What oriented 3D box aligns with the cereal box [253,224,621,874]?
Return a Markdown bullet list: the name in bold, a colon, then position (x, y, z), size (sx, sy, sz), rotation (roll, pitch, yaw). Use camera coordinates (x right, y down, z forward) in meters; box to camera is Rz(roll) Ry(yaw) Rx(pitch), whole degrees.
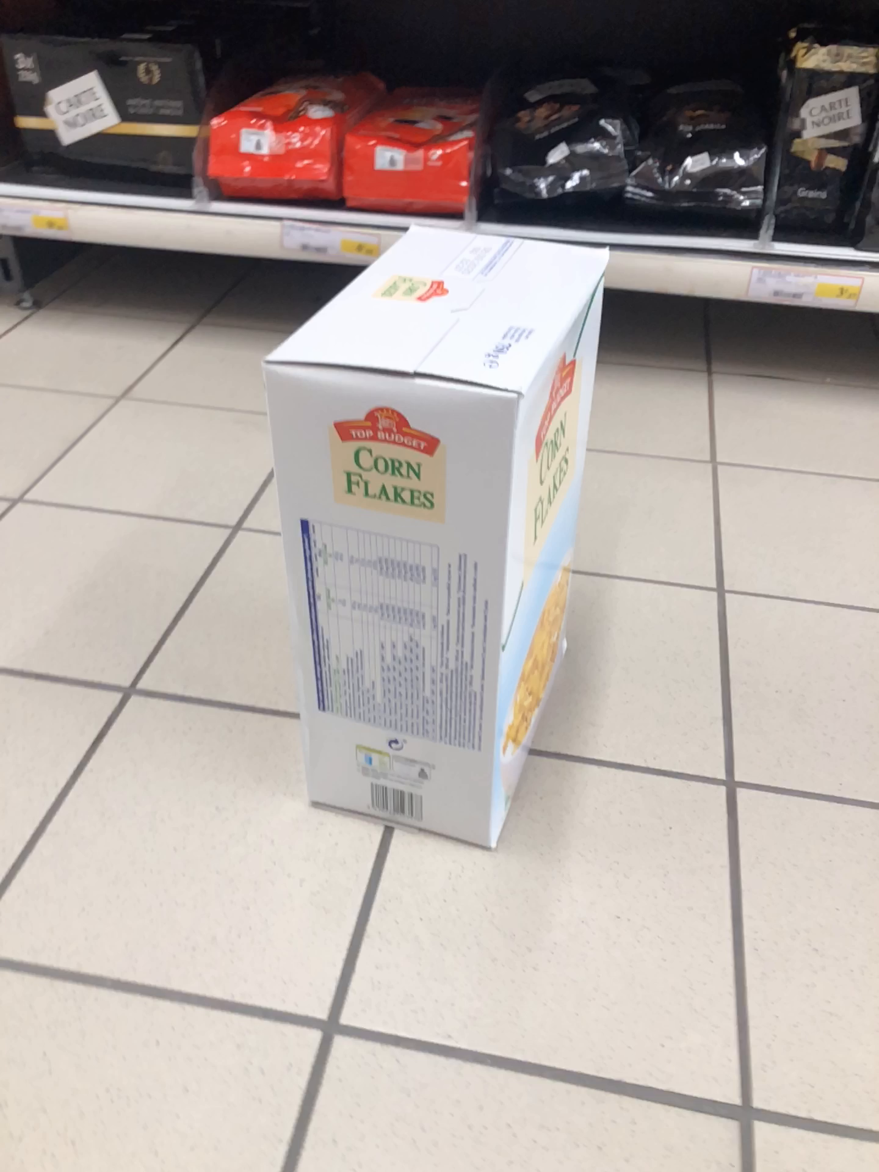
- **cereal box**: position (0.008, -0.023, 0.548), size (0.120, 0.288, 0.201), rotation (12, 37, 14)
